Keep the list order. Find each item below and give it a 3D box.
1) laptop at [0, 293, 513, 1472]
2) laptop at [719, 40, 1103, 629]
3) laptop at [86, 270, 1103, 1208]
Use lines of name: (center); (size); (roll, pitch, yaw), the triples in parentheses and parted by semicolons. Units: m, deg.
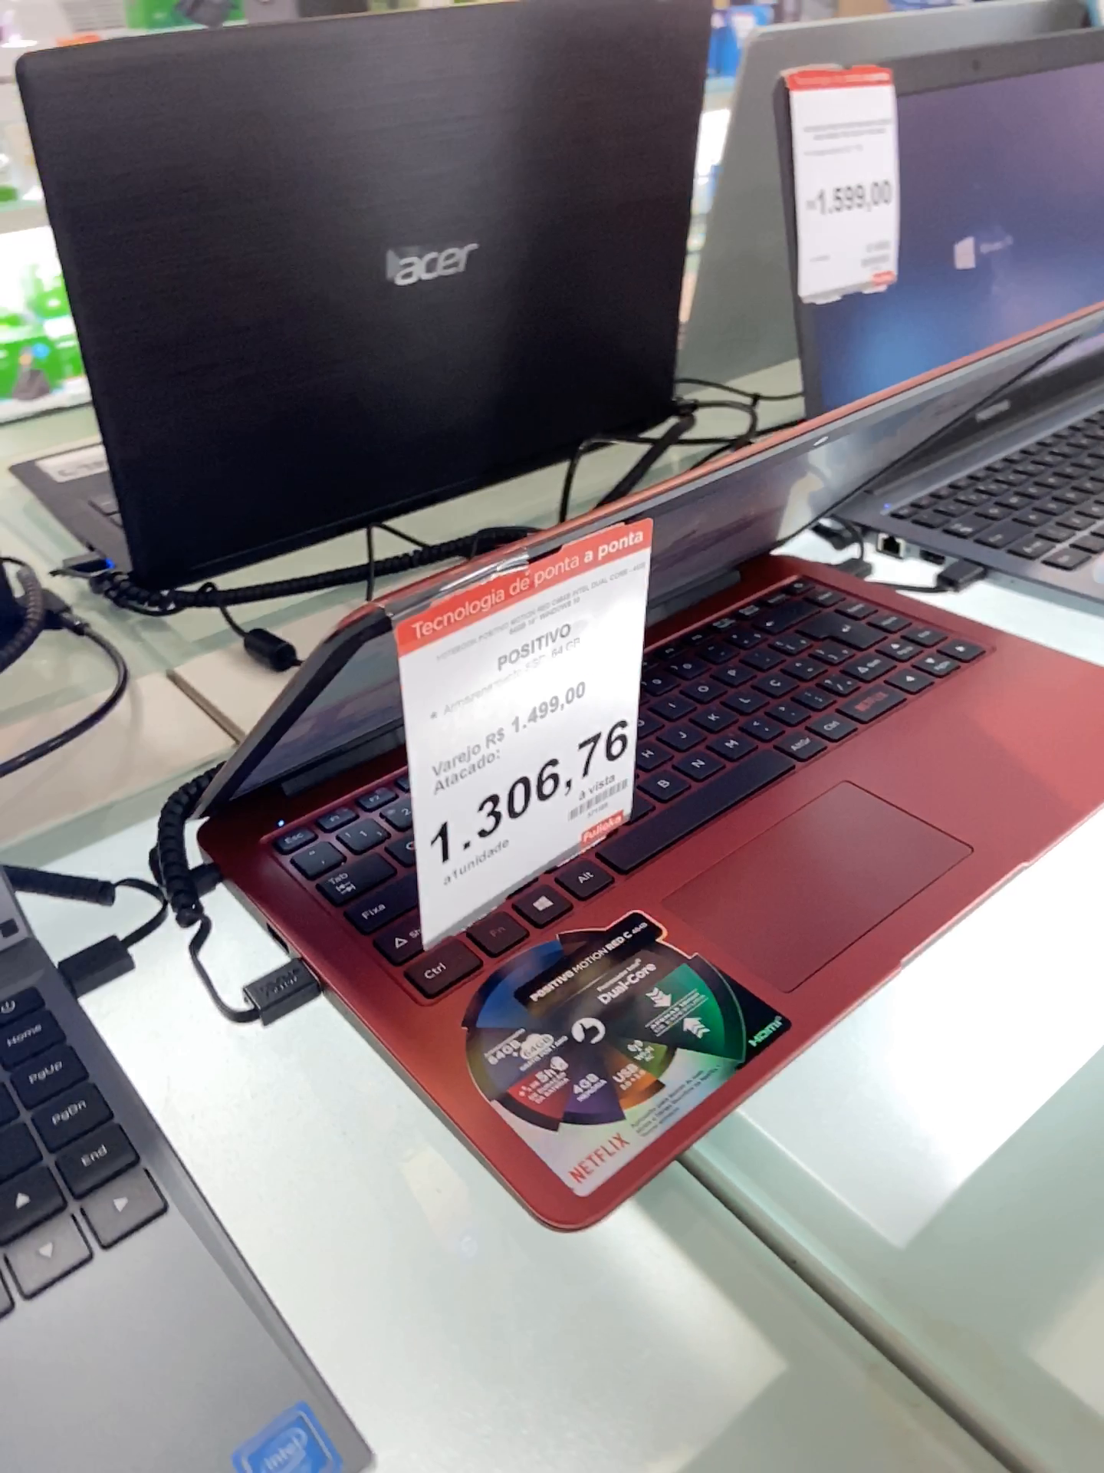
laptop: (-0.224, 0.044, 0.191); (0.286, 0.159, 0.235); (23, 30, 34)
laptop: (0.342, -0.249, 0.617); (0.385, 0.207, 0.277); (-28, 41, -35)
laptop: (0.057, -0.046, 0.392); (0.321, 0.144, 0.212); (-27, 38, -30)
